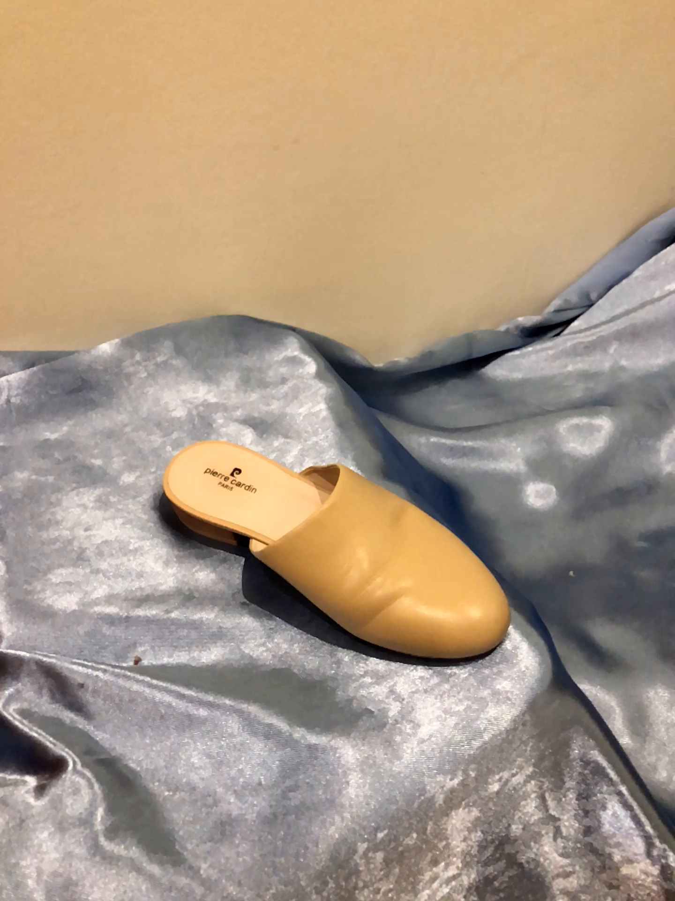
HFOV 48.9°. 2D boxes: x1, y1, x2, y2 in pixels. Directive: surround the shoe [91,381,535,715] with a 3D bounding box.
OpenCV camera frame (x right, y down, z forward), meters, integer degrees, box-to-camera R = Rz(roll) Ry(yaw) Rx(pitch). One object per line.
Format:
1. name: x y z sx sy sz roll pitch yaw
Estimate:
1. shoe: -0.023 0.045 0.462 0.260 0.060 0.096 23 47 28
